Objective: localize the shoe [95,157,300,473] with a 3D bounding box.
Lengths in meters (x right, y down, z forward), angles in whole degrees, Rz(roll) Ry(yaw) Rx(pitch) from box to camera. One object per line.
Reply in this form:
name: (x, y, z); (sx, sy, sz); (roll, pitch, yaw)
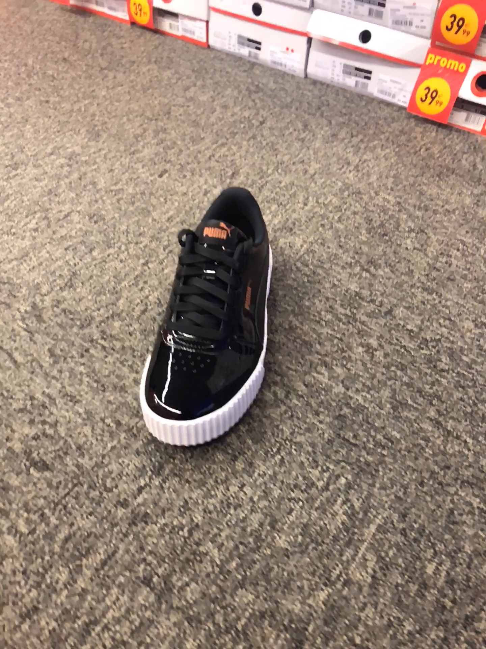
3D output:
shoe: (-0.022, -0.023, 0.463); (0.100, 0.099, 0.262); (9, 50, 7)
